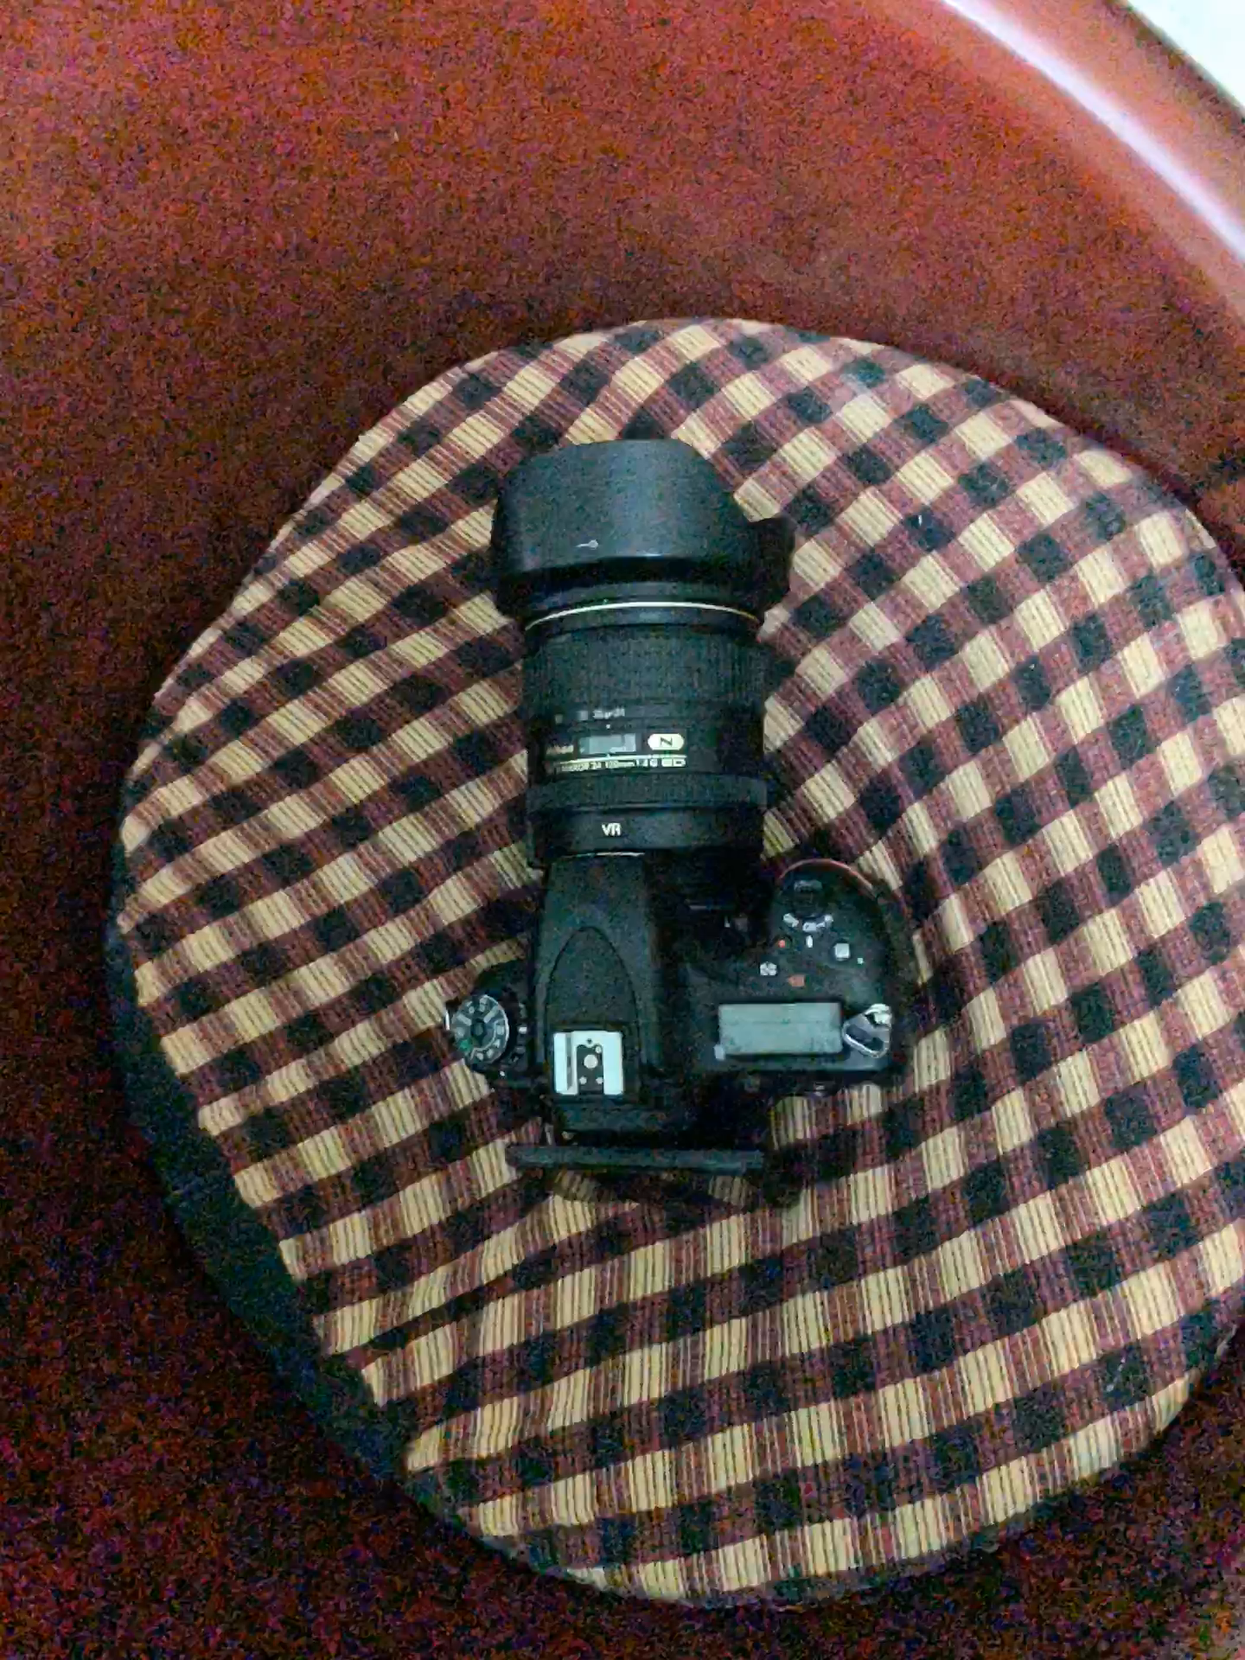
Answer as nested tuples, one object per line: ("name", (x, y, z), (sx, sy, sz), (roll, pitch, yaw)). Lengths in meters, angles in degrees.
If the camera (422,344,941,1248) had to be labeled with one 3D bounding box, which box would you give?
("camera", (0.024, -0.005, 0.418), (0.140, 0.101, 0.250), (-3, 81, 19))
